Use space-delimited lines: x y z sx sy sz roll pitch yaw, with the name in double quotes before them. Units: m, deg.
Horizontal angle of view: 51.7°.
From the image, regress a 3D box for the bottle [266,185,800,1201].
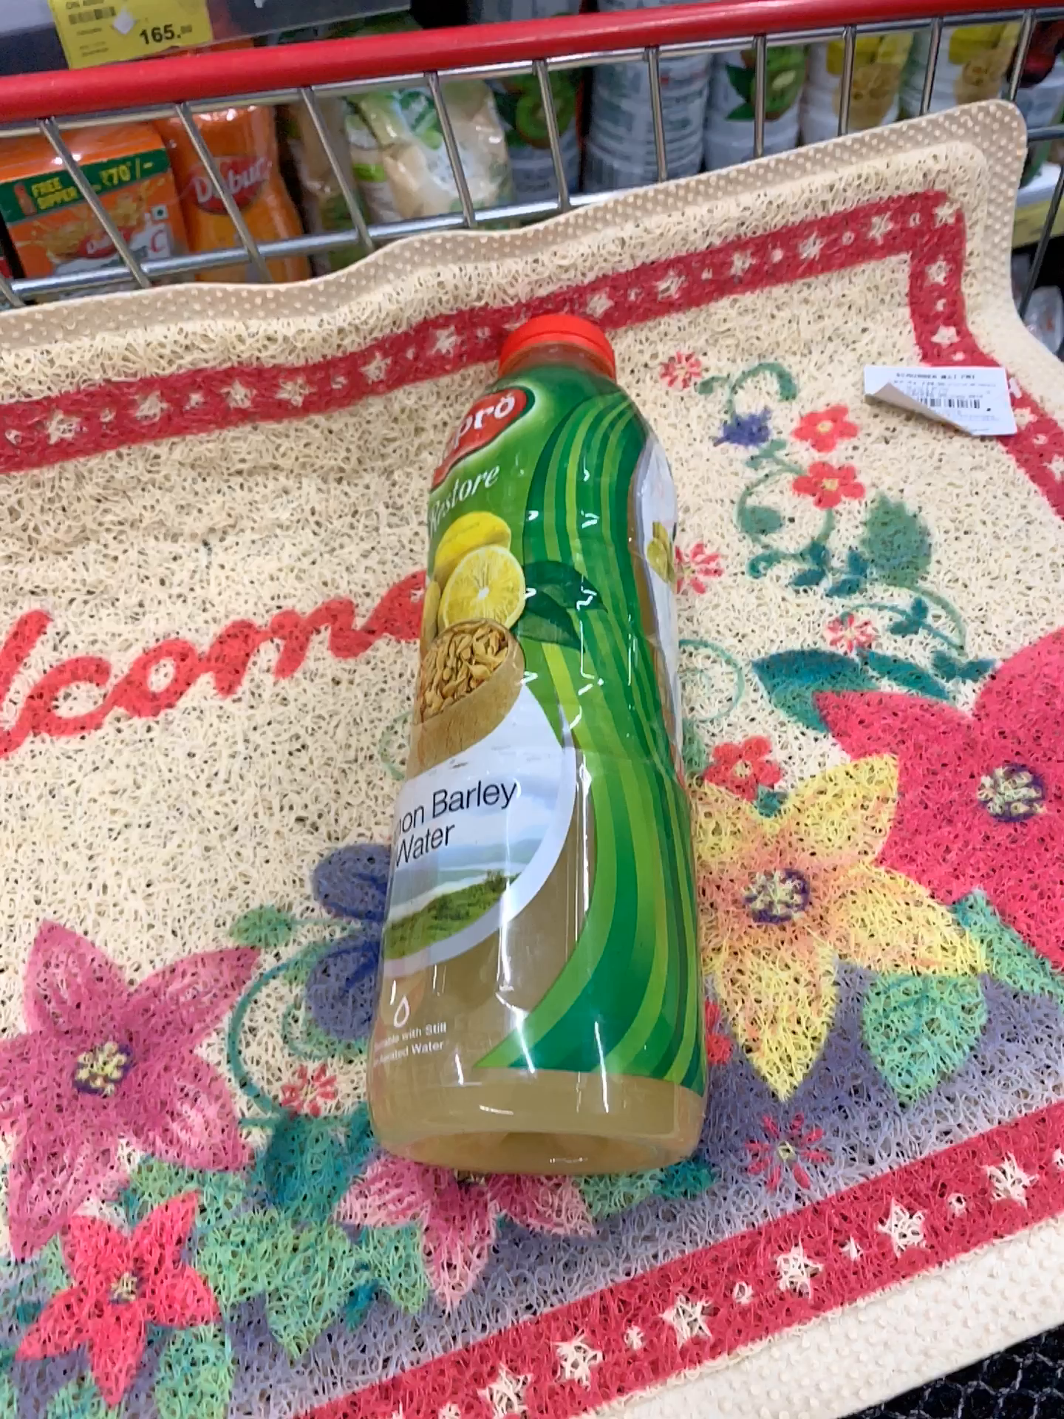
"bottle" 0.009 -0.015 0.314 0.080 0.090 0.271 -19 51 31
